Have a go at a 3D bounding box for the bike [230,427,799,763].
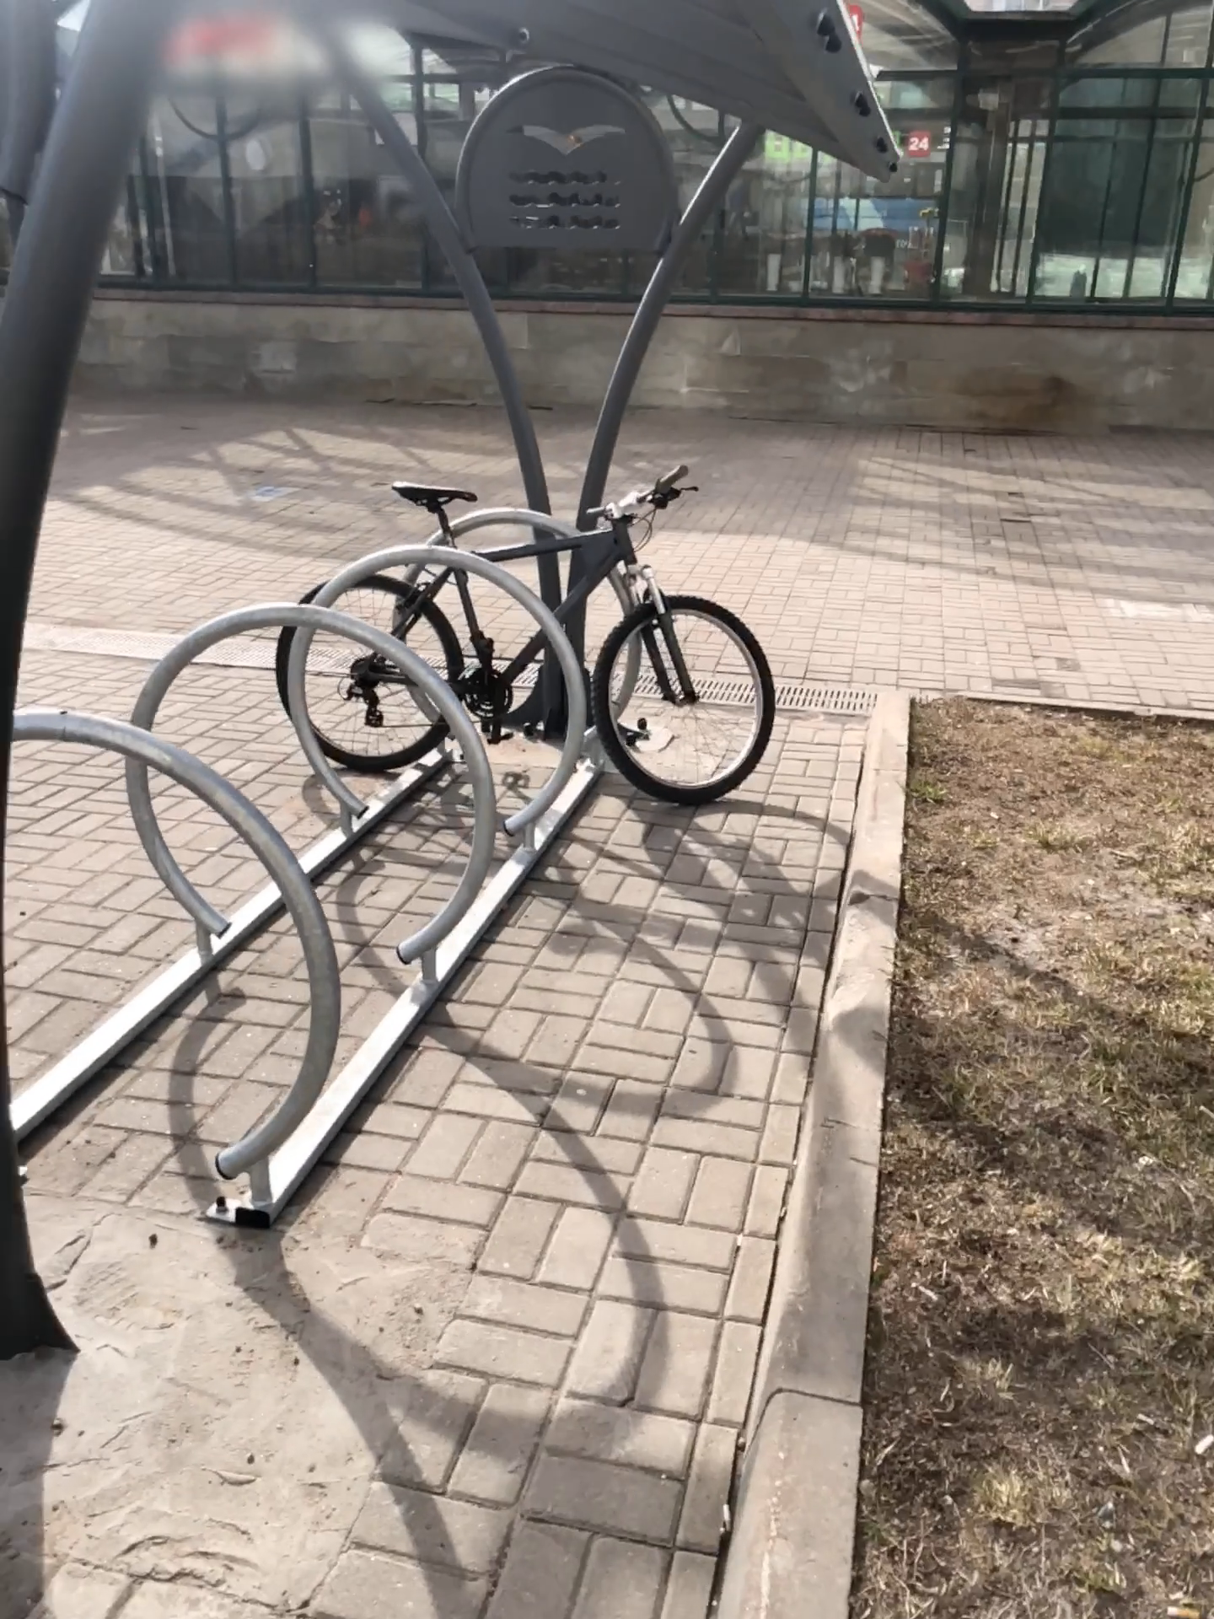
[{"bbox_3d":[-0.250,-0.711,4.346,1.610,0.980,0.564,1,21,3],"label":"bike"}]
